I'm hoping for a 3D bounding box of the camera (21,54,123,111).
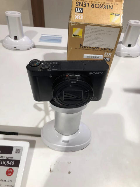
[{"bbox_3d":[0.001,-0.011,0.203,0.110,0.070,0.030,1,47,-3],"label":"camera"}]
